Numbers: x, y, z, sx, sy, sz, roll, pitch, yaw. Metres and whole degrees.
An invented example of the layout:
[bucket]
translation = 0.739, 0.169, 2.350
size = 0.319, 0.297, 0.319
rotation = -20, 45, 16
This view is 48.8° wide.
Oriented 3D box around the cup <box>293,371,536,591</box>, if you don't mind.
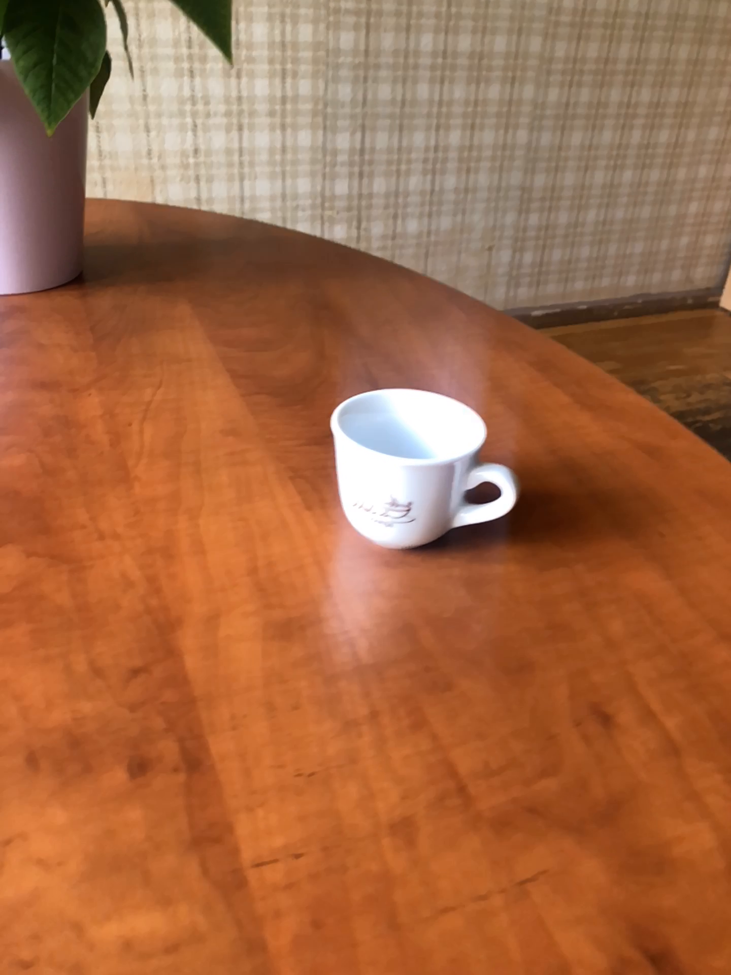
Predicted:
[cup]
translation = 0.021, -0.006, 0.338
size = 0.083, 0.050, 0.065
rotation = 14, 33, 14
